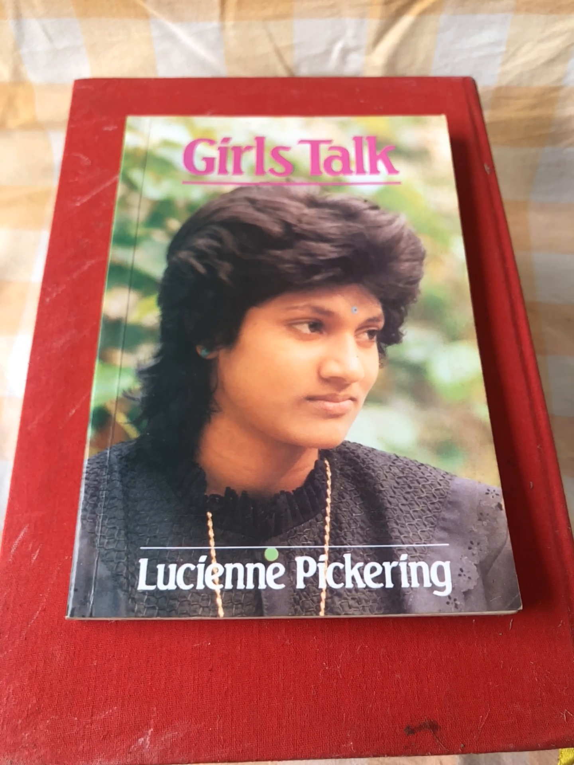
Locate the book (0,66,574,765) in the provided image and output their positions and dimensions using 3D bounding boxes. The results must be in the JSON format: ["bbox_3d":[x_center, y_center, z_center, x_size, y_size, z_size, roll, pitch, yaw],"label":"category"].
[{"bbox_3d":[0.000,-0.011,0.230,0.174,0.031,0.249,-2,65,-1],"label":"book"}]

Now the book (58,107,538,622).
[{"bbox_3d":[0.002,-0.017,0.224,0.130,0.025,0.182,-1,66,-1],"label":"book"}]
